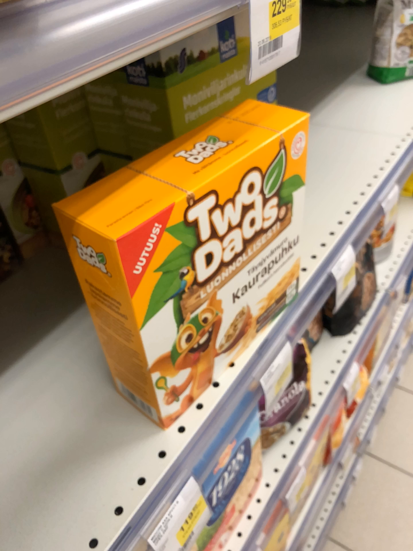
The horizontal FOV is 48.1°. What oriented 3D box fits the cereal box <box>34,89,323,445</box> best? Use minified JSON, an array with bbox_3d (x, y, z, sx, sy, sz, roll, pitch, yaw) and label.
[{"bbox_3d":[0.002,-0.011,0.361,0.070,0.189,0.201,26,50,34],"label":"cereal box"}]
